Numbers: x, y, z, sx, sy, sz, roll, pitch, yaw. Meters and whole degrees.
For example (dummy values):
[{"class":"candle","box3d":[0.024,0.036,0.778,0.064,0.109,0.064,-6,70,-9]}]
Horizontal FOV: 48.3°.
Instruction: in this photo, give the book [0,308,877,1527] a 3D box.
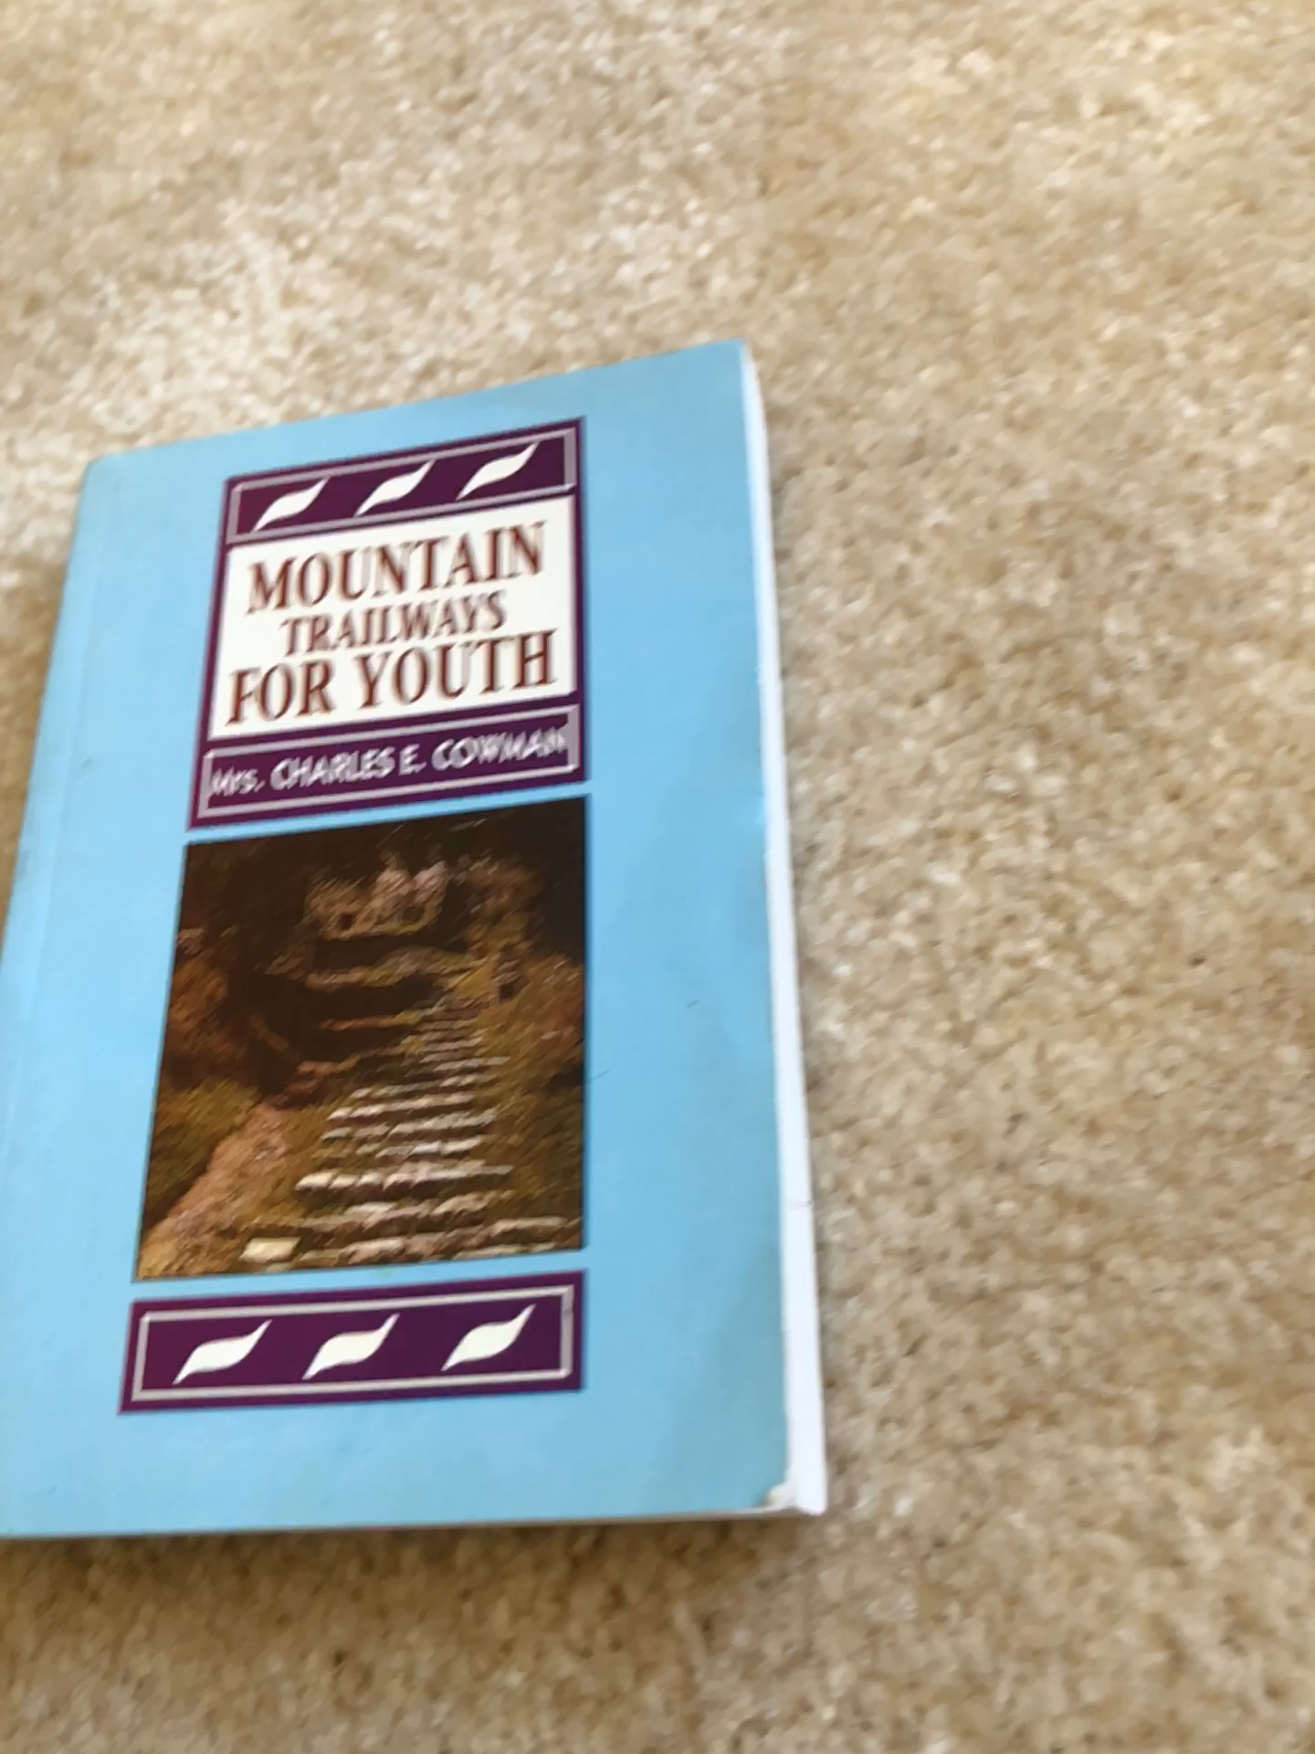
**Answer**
[{"class":"book","box3d":[-0.036,0.003,0.220,0.122,0.030,0.170,-7,66,14]}]
